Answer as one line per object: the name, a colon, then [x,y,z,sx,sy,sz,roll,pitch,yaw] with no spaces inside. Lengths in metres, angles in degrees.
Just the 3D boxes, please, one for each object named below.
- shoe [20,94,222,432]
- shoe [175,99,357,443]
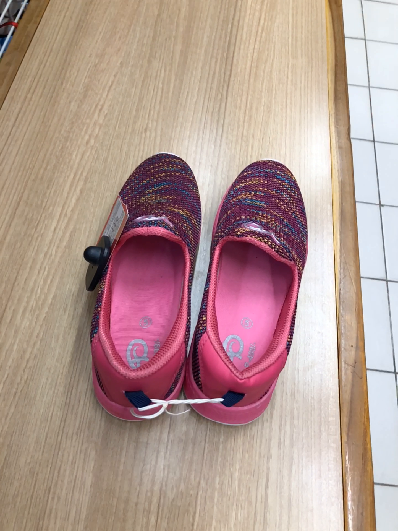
shoe: [-0.044,-0.006,0.354,0.105,0.103,0.245,5,62,-1]
shoe: [0.057,0.000,0.358,0.105,0.103,0.245,10,62,2]
